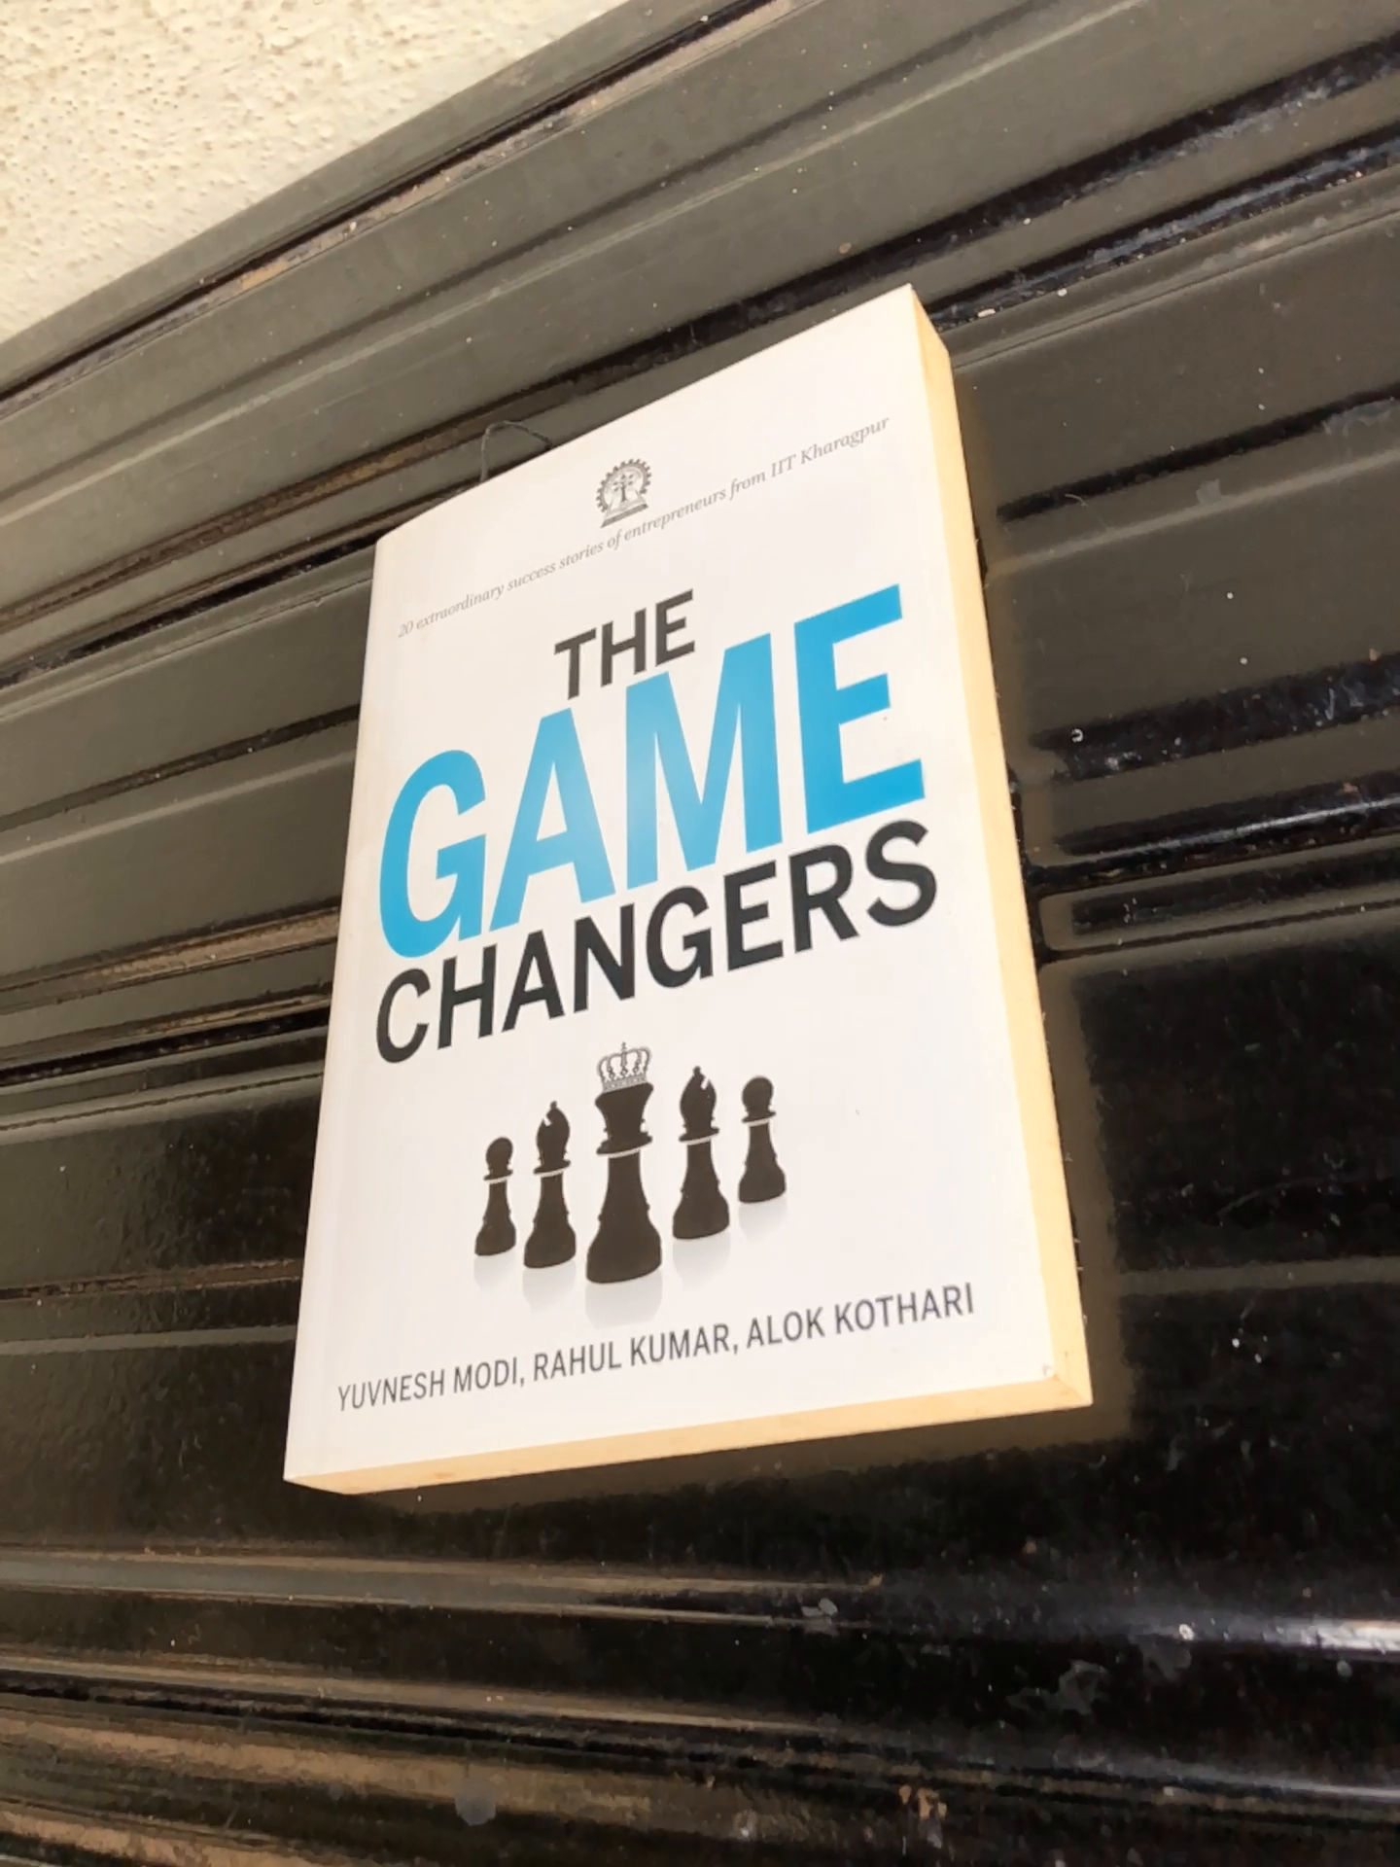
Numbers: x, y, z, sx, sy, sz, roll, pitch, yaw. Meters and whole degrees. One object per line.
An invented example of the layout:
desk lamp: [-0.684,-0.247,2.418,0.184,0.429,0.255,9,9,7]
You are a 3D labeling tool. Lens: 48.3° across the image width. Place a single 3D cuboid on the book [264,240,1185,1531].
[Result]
book: [-0.004,-0.012,0.281,0.140,0.030,0.210,-17,58,27]
